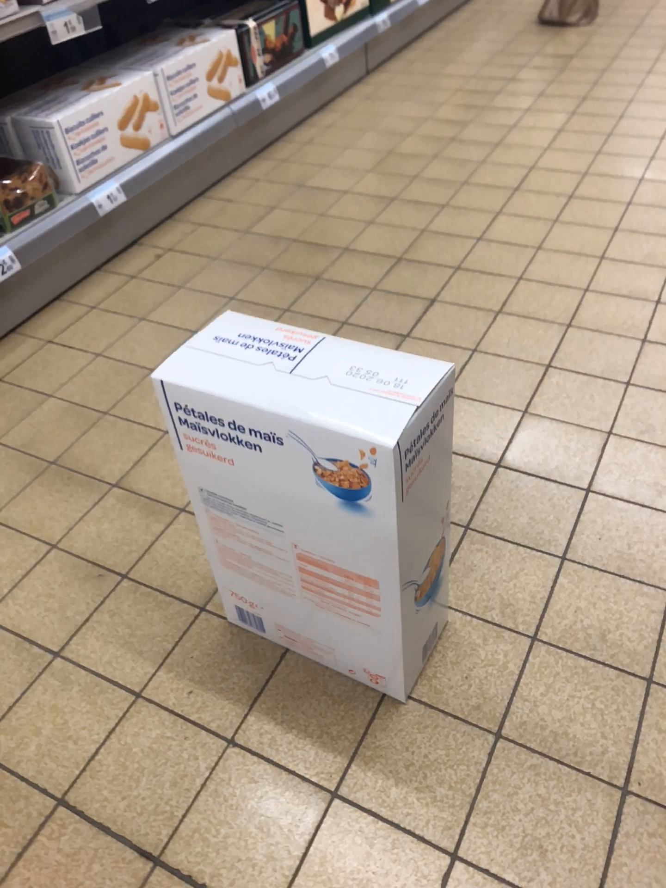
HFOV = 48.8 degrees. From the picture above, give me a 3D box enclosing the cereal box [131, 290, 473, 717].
[{"bbox_3d":[-0.008,0.054,0.586,0.200,0.298,0.111,17,47,25],"label":"cereal box"}]
